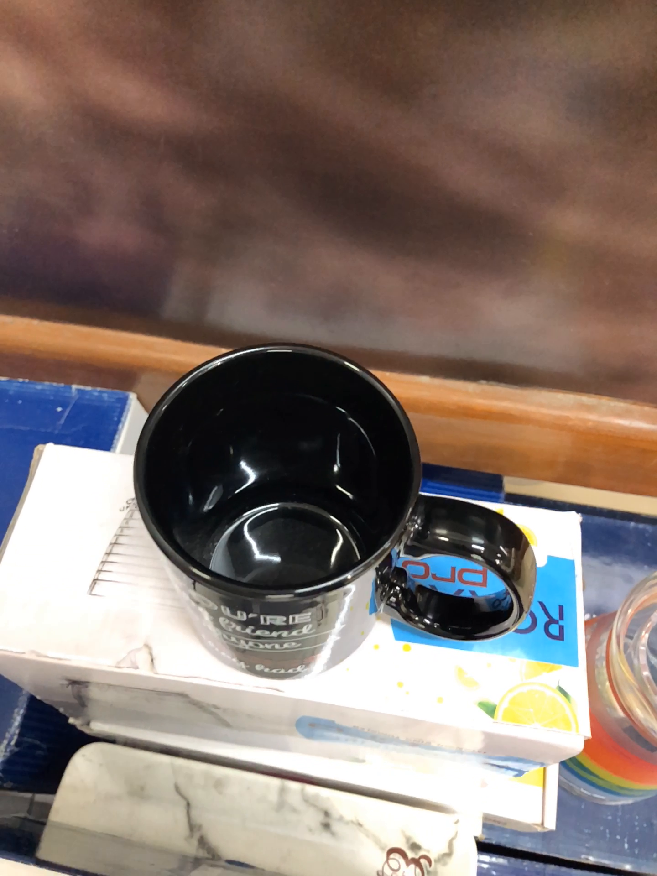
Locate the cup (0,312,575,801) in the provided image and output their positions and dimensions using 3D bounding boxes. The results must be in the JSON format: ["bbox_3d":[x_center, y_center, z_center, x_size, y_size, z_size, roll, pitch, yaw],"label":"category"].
[{"bbox_3d":[-0.006,0.041,0.224,0.130,0.110,0.090,9,58,7],"label":"cup"}]
